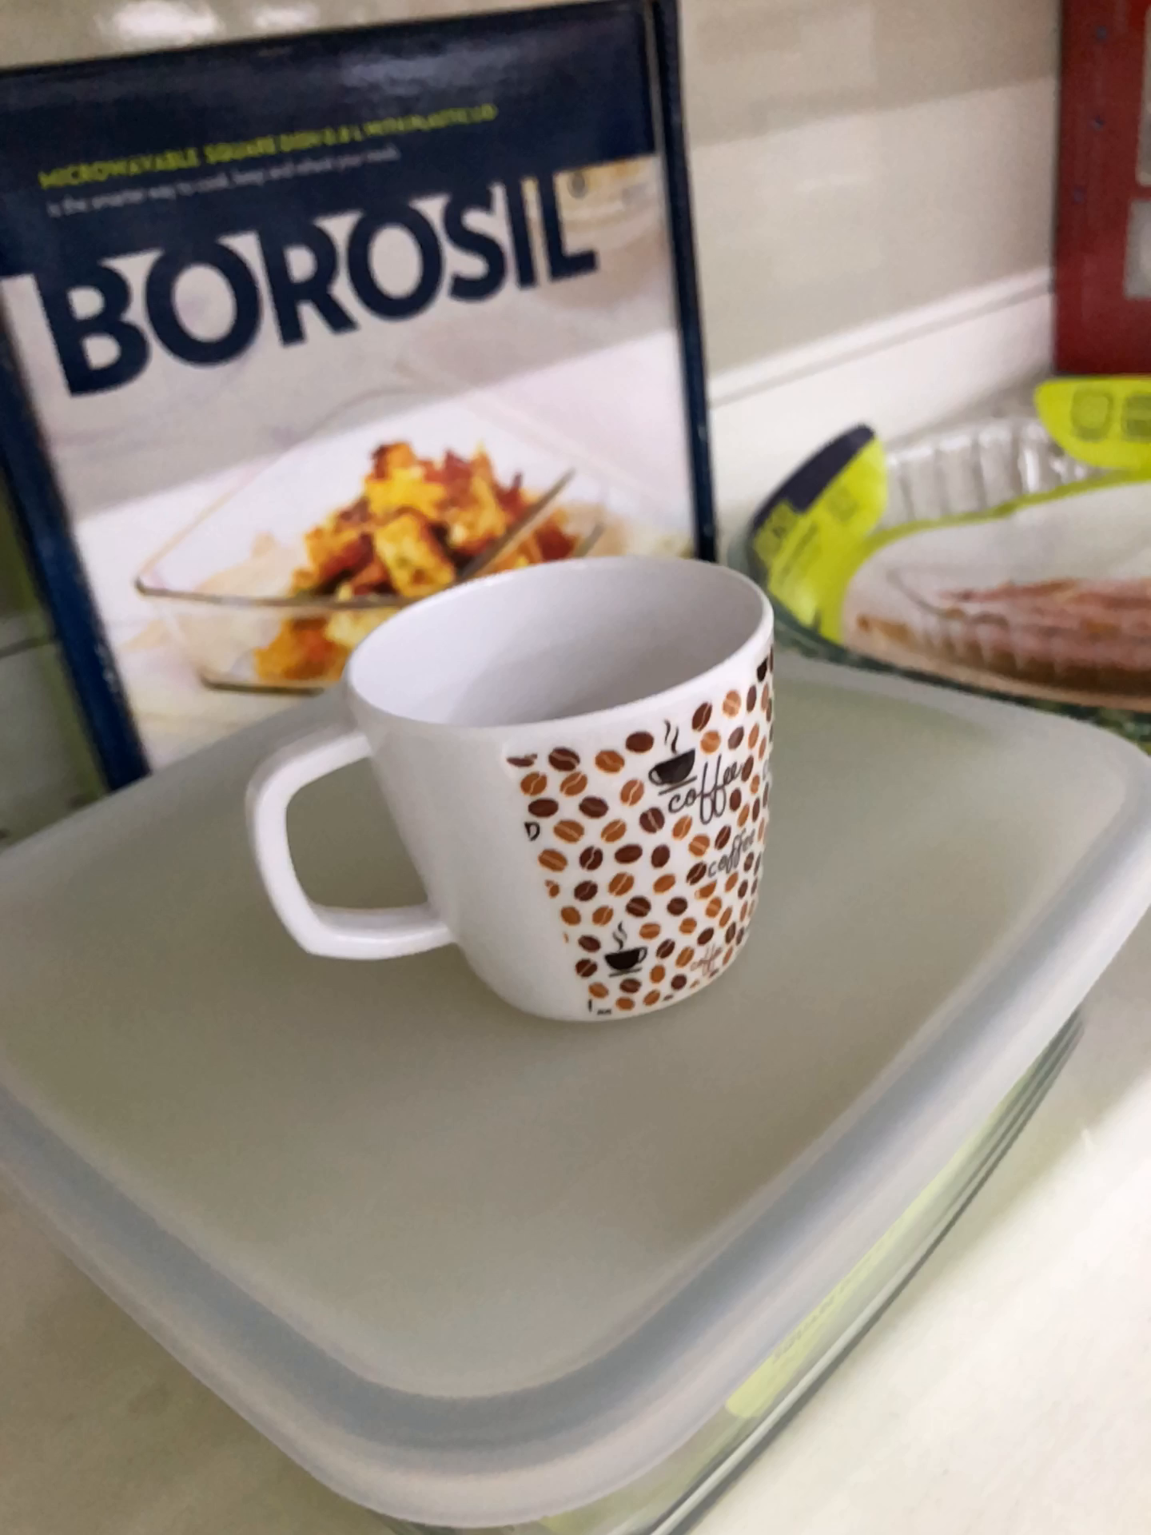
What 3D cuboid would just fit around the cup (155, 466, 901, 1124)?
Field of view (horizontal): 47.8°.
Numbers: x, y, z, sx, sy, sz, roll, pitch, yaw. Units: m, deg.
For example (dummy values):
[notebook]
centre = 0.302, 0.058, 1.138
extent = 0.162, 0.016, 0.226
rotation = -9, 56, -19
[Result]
[cup]
centre = -0.007, -0.003, 0.180
extent = 0.080, 0.050, 0.060
rotation = -18, 28, -18
